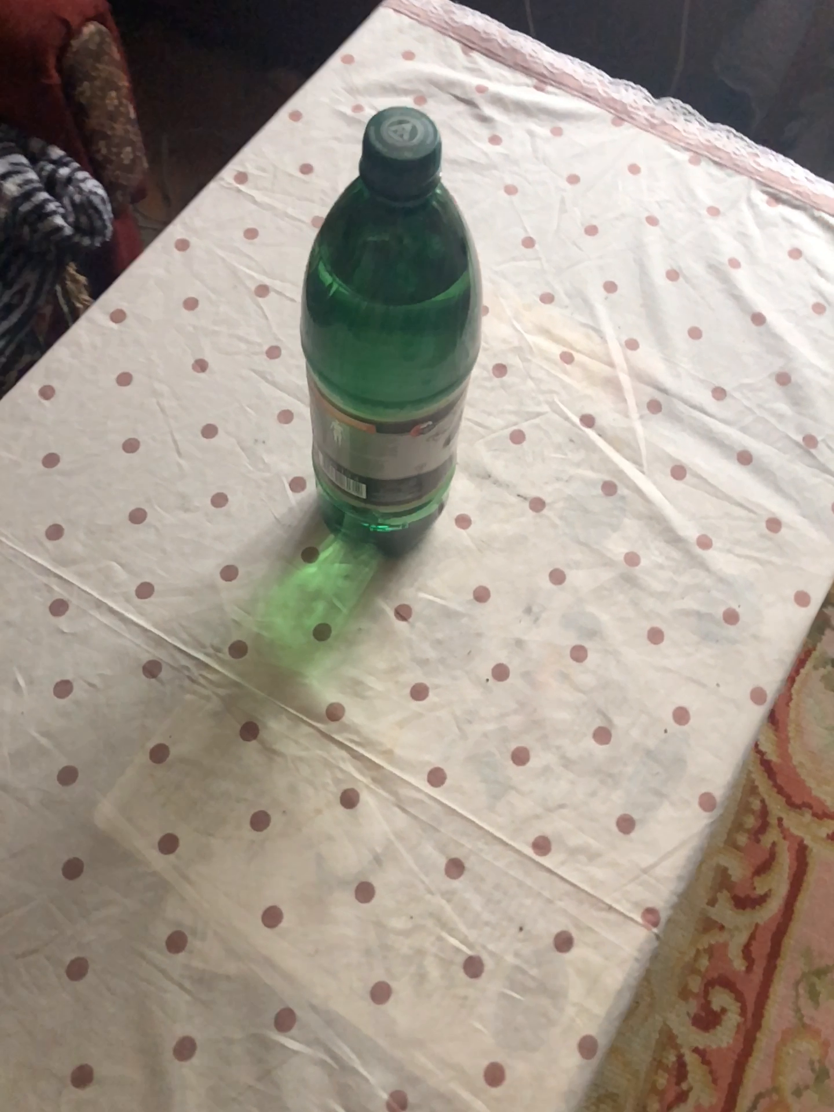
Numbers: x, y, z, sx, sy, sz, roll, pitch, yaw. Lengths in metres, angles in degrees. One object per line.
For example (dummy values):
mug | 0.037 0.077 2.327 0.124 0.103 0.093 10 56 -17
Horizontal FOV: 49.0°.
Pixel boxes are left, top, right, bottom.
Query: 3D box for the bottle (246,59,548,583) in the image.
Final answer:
bottle | -0.014 -0.085 0.451 0.100 0.279 0.100 1 67 -2
